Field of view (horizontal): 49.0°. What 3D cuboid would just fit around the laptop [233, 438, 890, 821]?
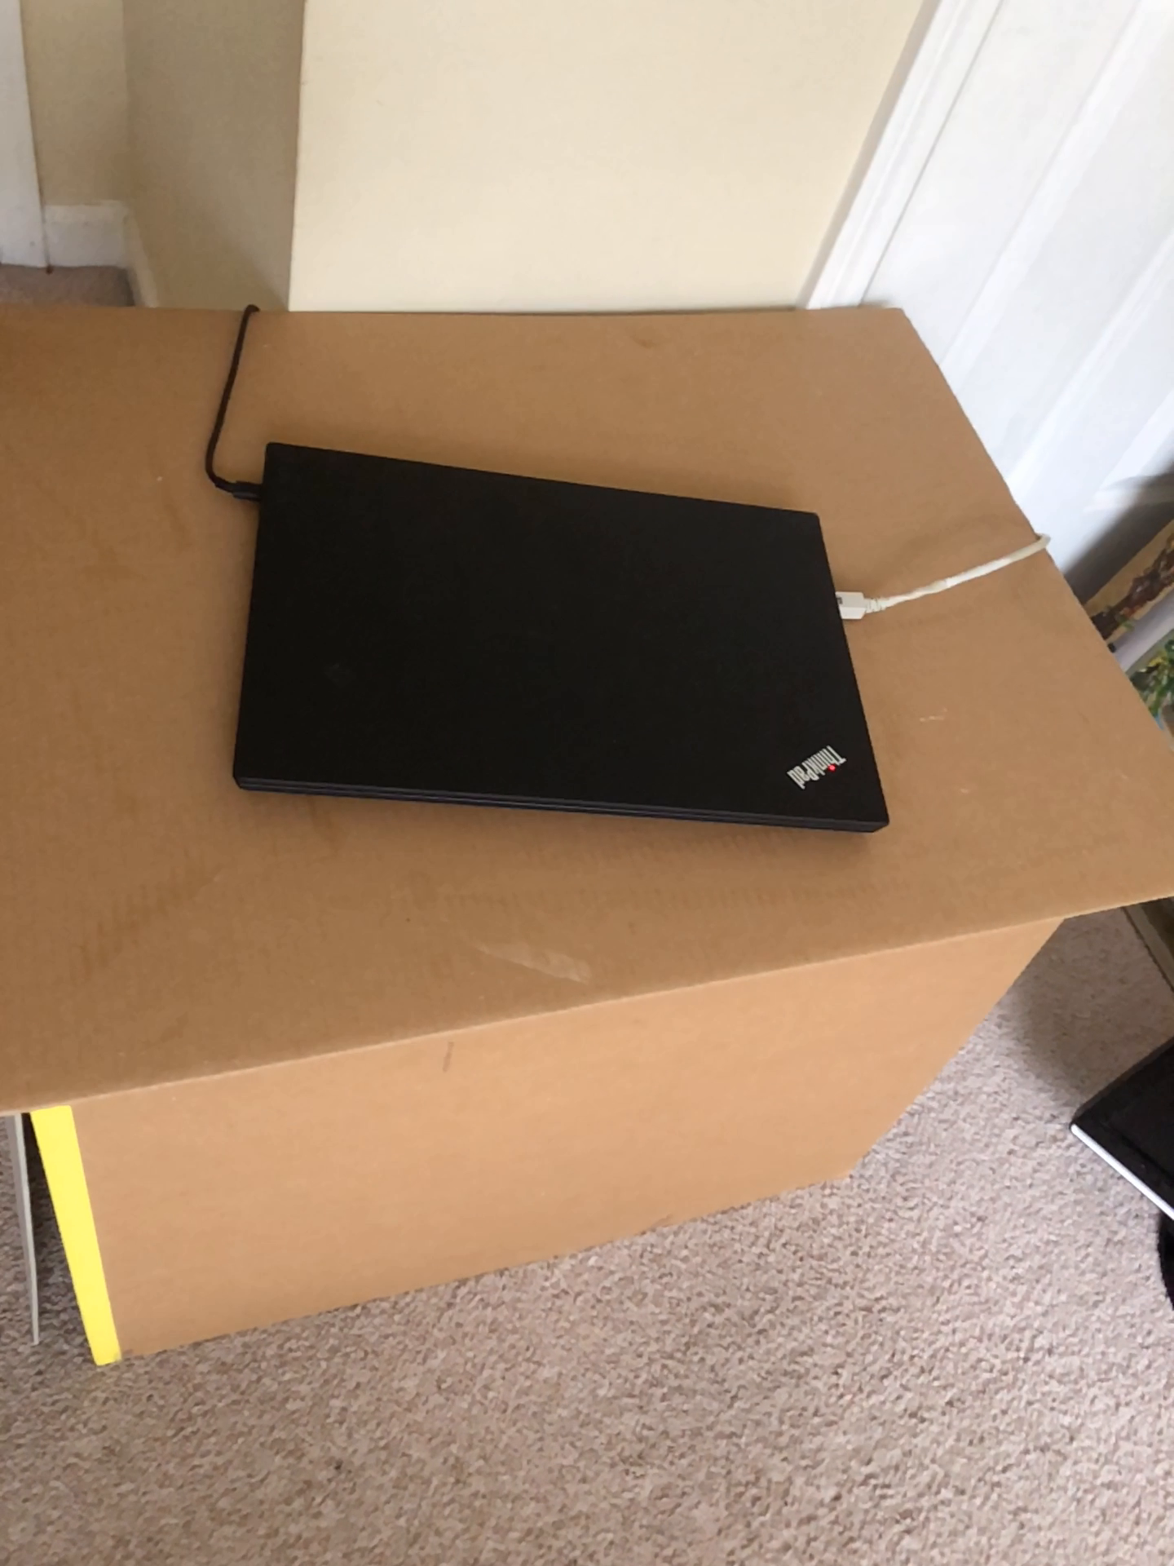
[{"bbox_3d":[-0.009,-0.085,0.689,0.327,0.002,0.226,5,54,-14],"label":"laptop"}]
